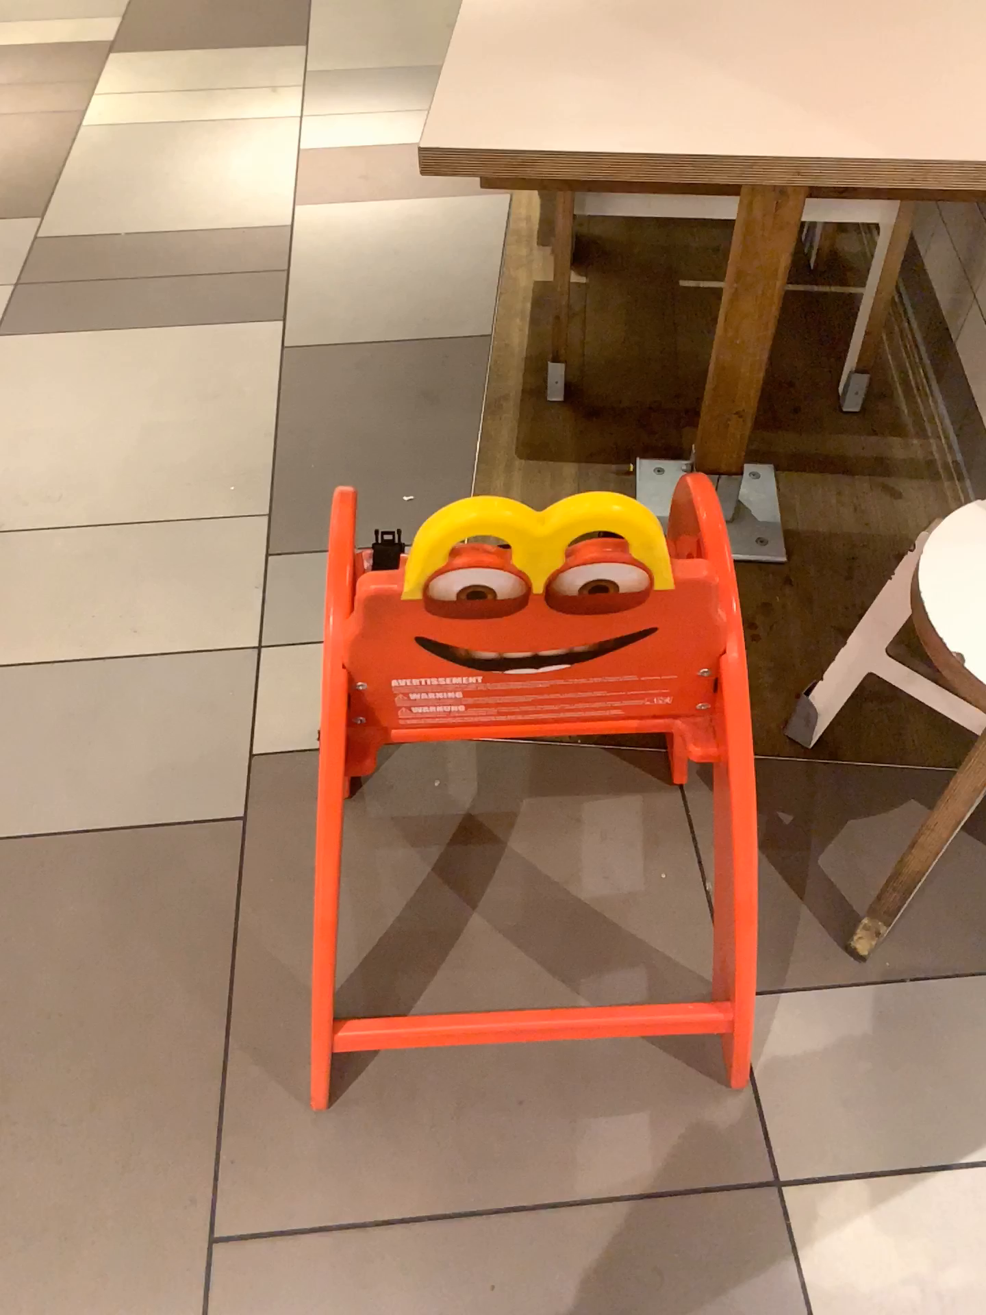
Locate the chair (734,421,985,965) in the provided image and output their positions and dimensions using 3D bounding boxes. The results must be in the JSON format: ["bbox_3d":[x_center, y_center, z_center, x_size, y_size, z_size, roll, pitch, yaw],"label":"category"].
[{"bbox_3d":[0.502,0.051,1.082,0.320,0.446,0.373,-4,51,-3],"label":"chair"}]

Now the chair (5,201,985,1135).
[{"bbox_3d":[0.017,0.035,0.967,0.580,0.654,0.585,-4,51,-3],"label":"chair"}]
